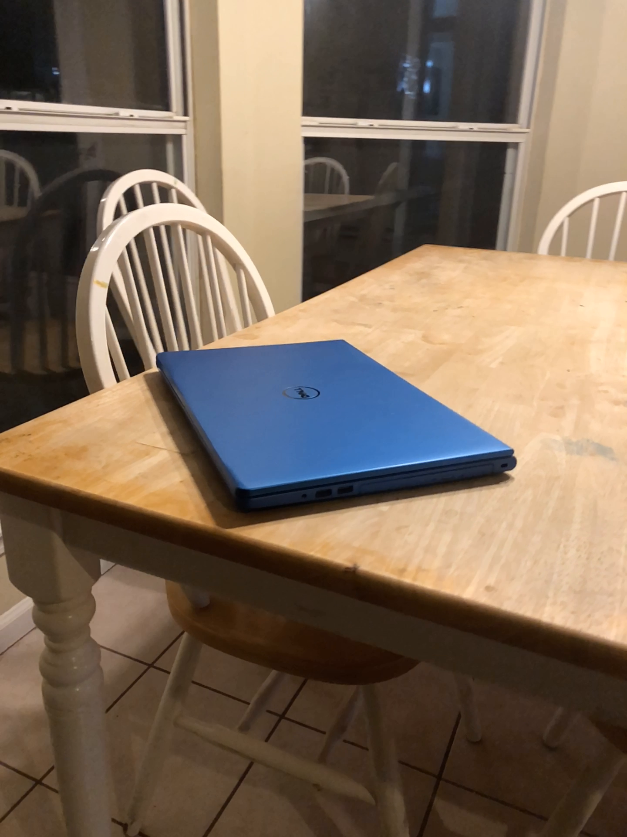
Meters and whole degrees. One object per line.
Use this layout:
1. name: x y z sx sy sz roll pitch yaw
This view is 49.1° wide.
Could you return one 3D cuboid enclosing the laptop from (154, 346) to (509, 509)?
1. laptop: -0.012 -0.015 0.750 0.259 0.001 0.390 -7 24 -20
